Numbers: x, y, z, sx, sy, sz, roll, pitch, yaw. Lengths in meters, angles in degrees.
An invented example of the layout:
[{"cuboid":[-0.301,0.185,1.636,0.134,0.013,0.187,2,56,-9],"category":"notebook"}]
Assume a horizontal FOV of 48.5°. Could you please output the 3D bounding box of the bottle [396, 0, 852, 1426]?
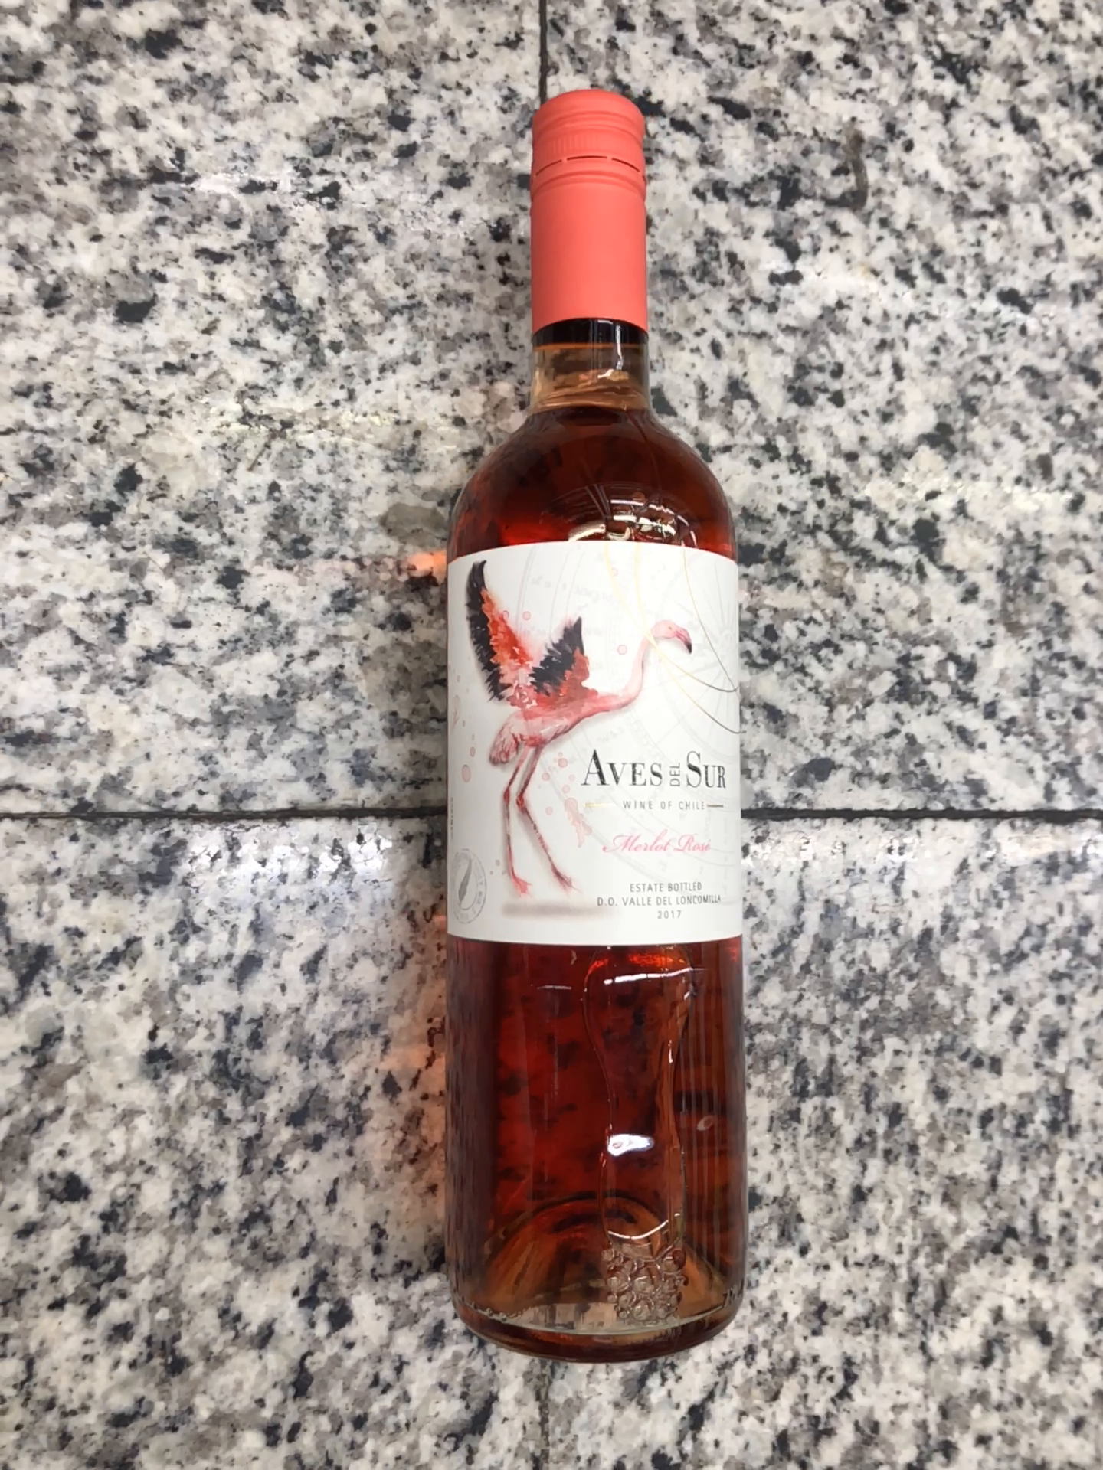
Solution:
[{"cuboid":[0.013,-0.016,0.327,0.090,0.070,0.340,0,85,-18],"category":"bottle"}]
